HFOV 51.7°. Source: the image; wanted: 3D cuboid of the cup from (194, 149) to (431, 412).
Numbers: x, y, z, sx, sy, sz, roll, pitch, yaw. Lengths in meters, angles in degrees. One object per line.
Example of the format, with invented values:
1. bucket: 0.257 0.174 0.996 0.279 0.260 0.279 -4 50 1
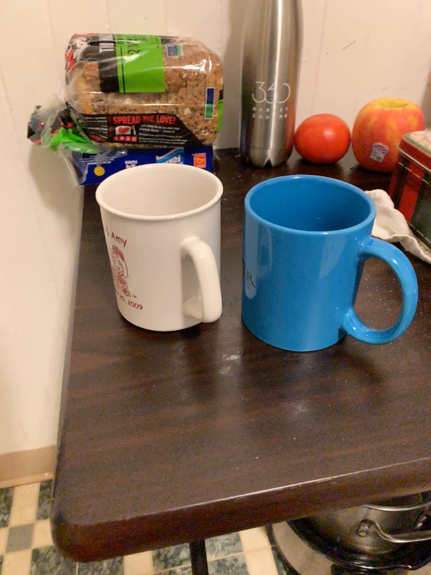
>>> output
1. cup: 0.067 -0.015 0.301 0.090 0.099 0.141 -30 47 -34

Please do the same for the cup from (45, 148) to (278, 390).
1. cup: -0.039 -0.022 0.317 0.090 0.099 0.131 -29 46 -32
